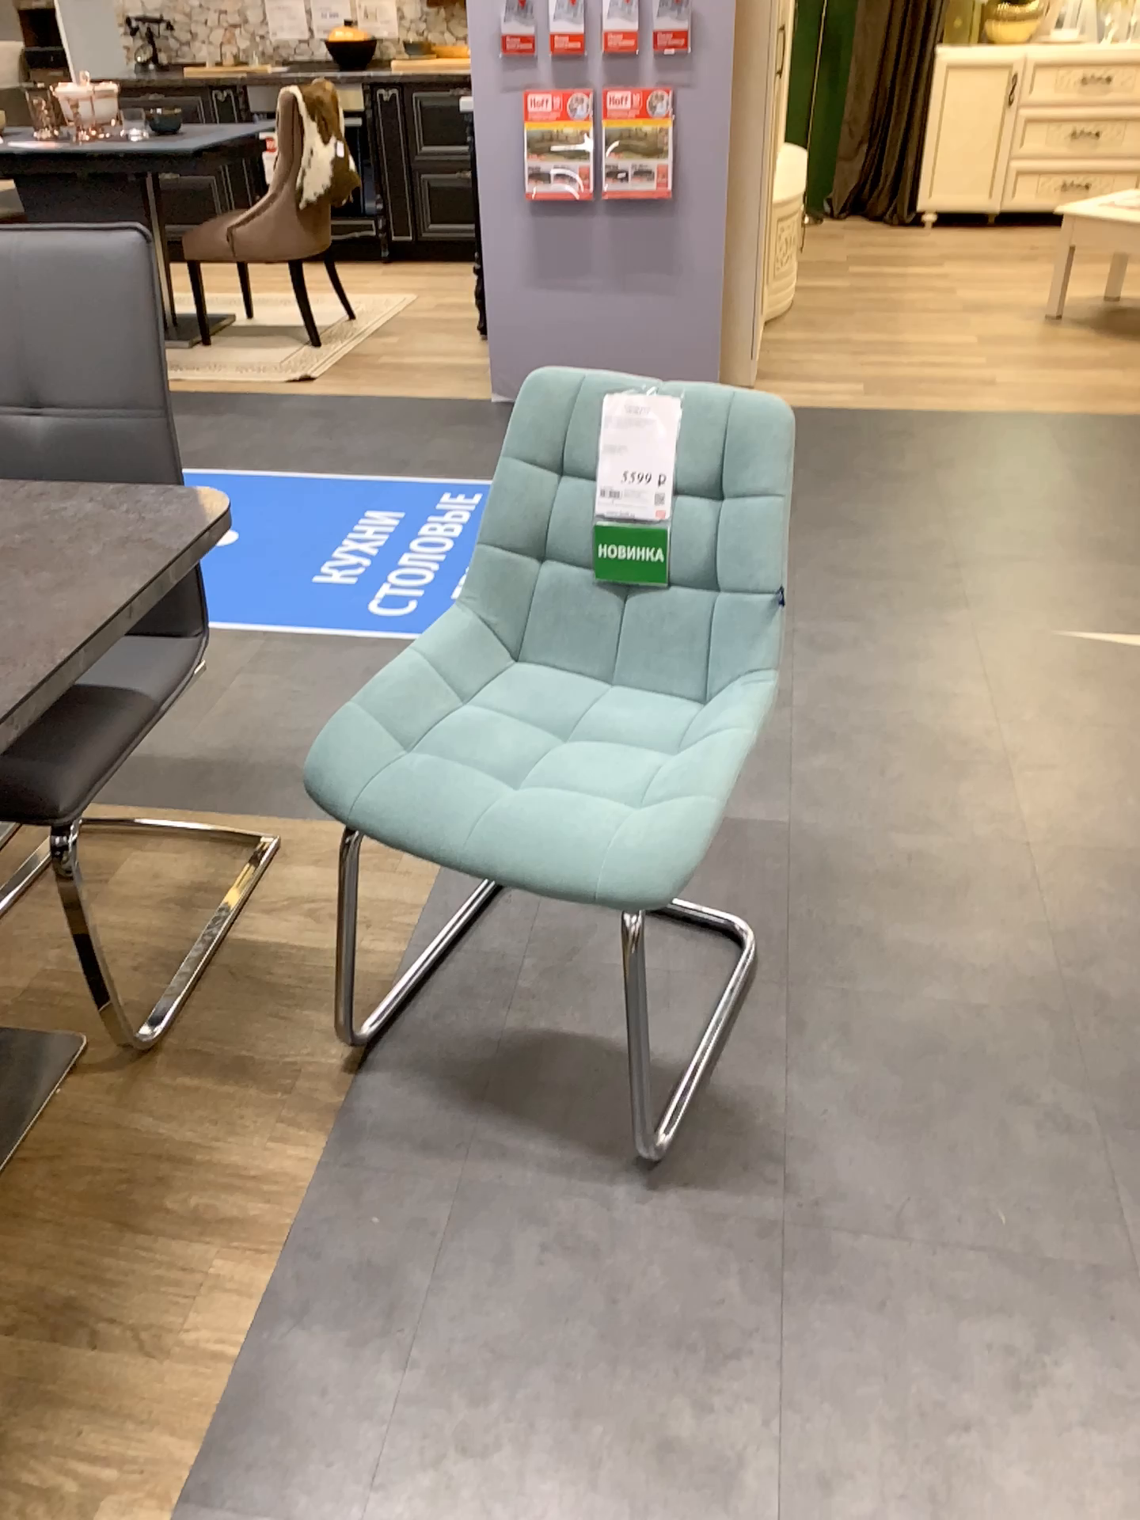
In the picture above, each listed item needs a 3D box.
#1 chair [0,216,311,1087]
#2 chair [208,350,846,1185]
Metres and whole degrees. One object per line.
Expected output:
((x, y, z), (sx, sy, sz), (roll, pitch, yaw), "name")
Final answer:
((-0.787, -0.153, 1.605), (0.510, 1.004, 0.573), (6, 34, 12), "chair")
((-0.004, -0.016, 1.507), (0.510, 0.825, 0.553), (13, 36, 21), "chair")
